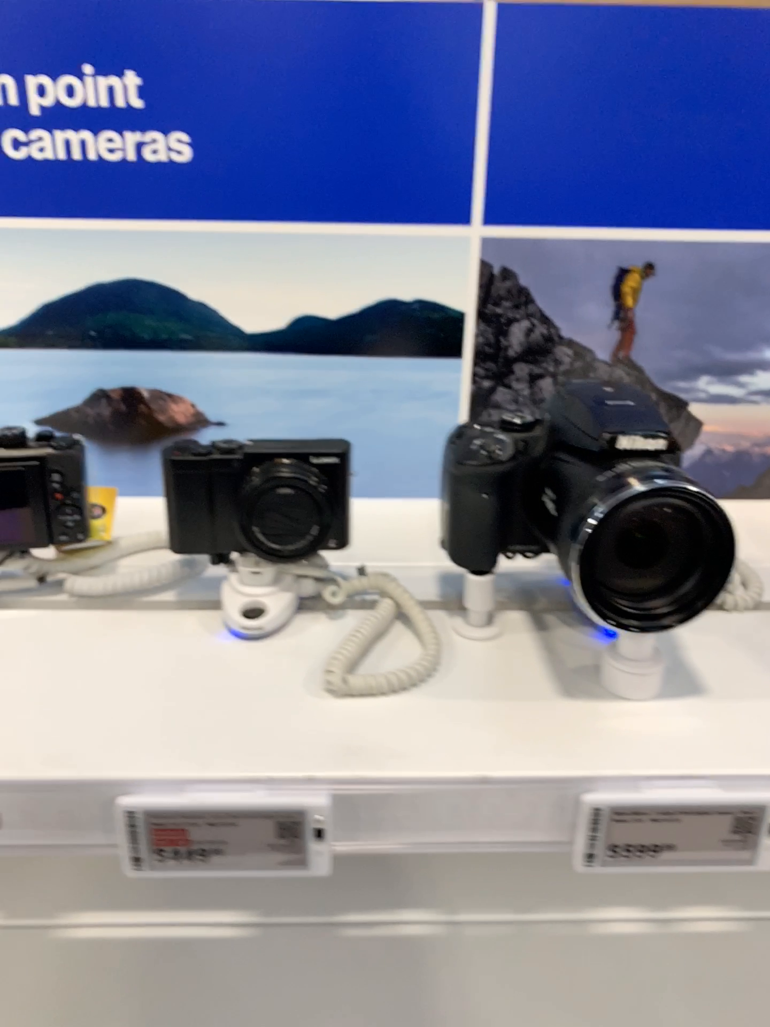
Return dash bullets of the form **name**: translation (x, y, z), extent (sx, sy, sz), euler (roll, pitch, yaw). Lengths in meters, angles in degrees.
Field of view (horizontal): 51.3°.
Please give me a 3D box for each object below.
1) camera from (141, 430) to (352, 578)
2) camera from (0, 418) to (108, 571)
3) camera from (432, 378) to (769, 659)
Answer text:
- **camera**: translation (-0.075, -0.007, 0.461), extent (0.110, 0.070, 0.050), euler (-1, 22, -2)
- **camera**: translation (-0.233, -0.013, 0.472), extent (0.120, 0.070, 0.050), euler (-4, 22, -9)
- **camera**: translation (0.114, -0.007, 0.432), extent (0.160, 0.099, 0.151), euler (-1, 22, -2)
